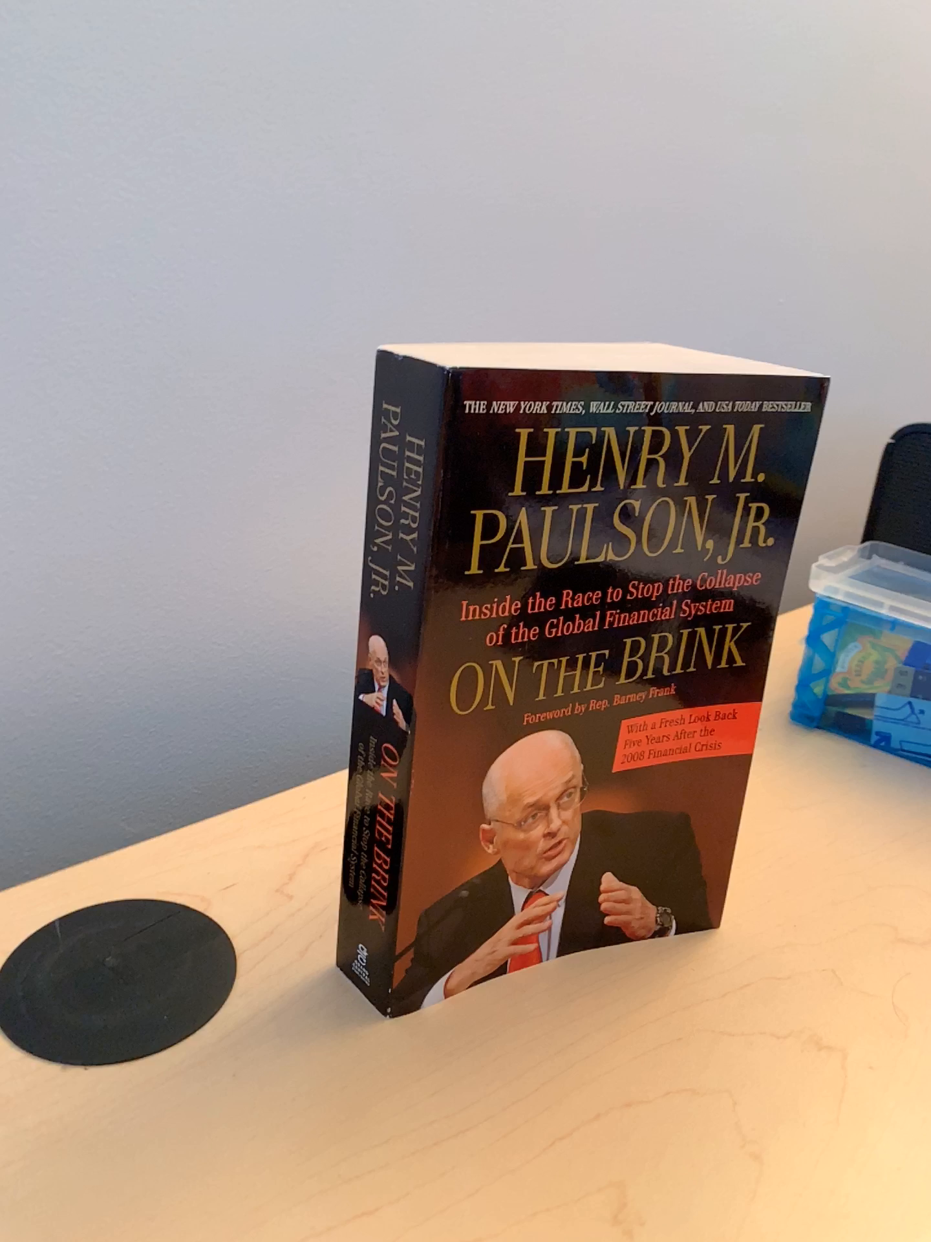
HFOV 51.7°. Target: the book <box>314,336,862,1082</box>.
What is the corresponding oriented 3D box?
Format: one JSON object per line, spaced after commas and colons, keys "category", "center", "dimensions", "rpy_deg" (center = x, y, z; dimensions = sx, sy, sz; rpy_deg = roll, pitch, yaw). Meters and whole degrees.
{"category": "book", "center": [0.040, 0.018, 0.357], "dimensions": [0.167, 0.228, 0.082], "rpy_deg": [-11, 25, -36]}
